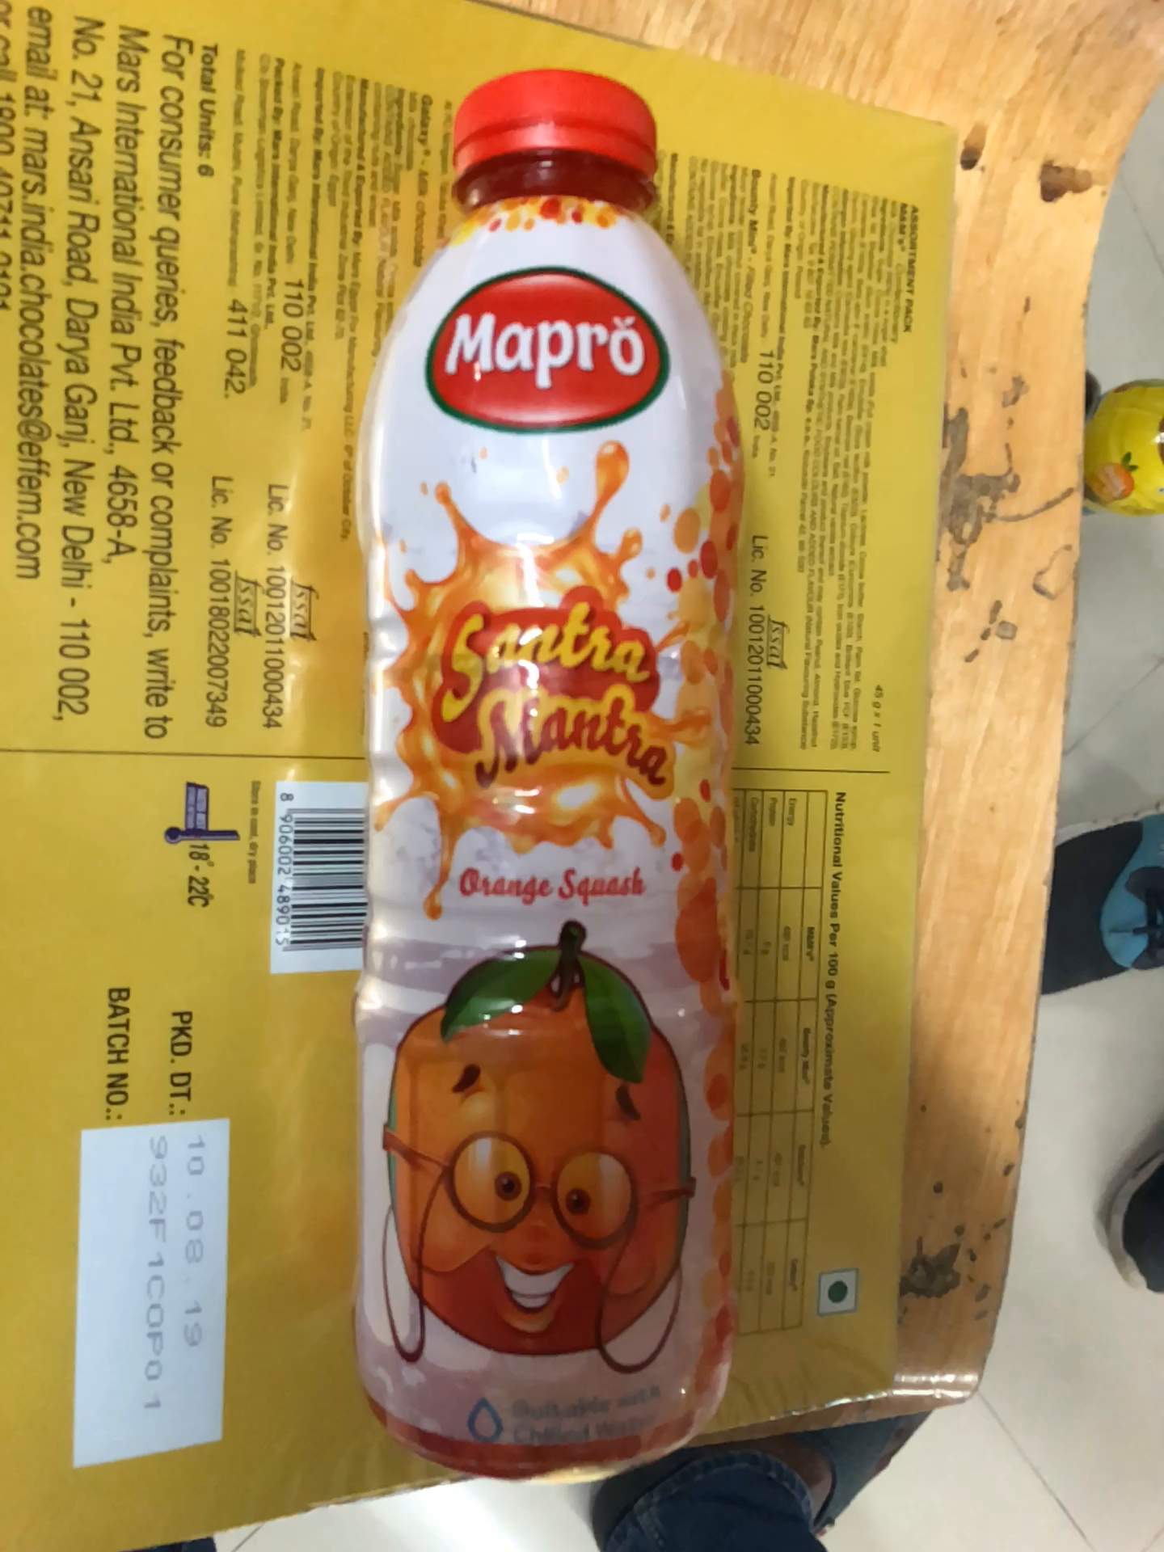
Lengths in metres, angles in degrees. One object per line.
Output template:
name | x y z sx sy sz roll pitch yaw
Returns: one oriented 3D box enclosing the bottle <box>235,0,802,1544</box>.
bottle | -0.010 -0.014 0.277 0.090 0.090 0.300 3 96 18
